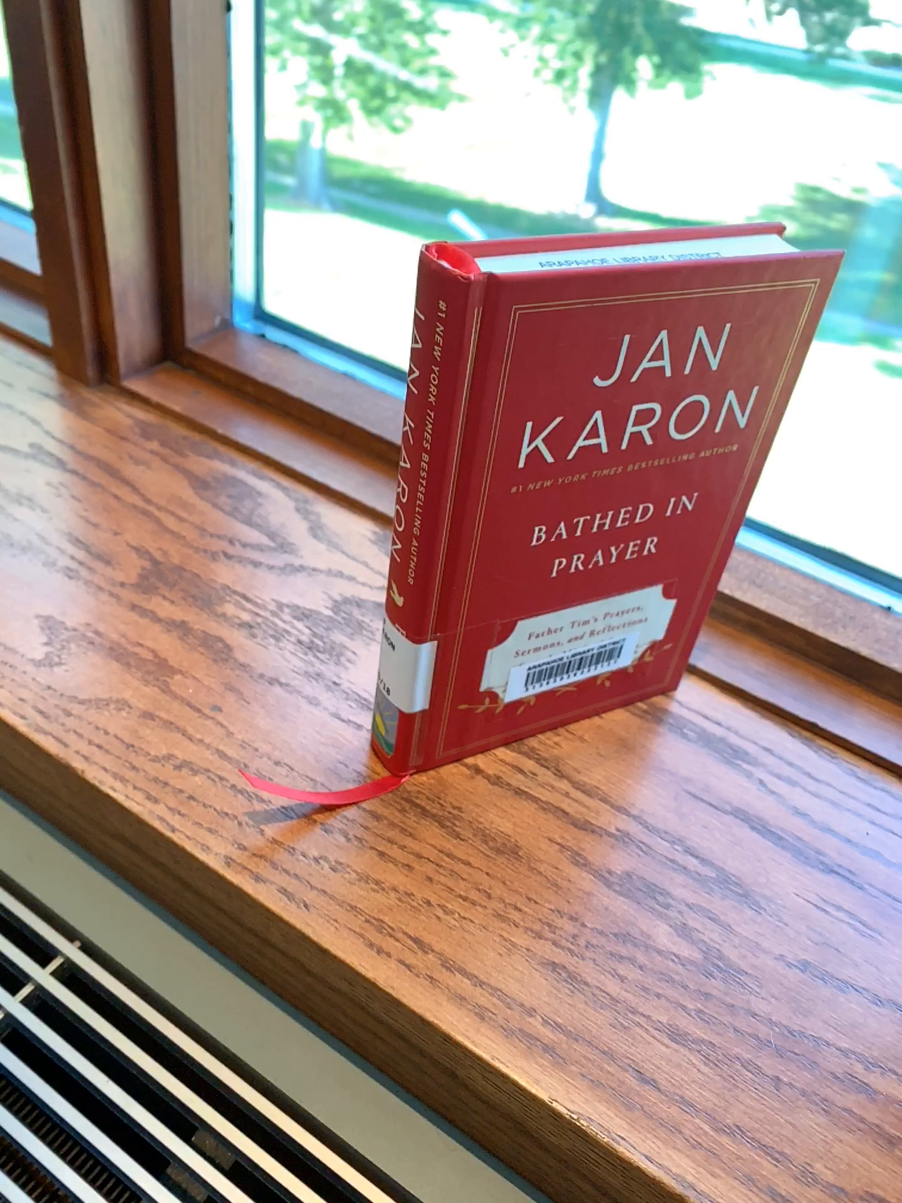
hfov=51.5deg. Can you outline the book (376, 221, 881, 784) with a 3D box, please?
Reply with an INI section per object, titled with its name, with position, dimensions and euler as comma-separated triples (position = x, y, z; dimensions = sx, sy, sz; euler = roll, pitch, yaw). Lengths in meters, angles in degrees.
[book]
position = 0.048, -0.028, 0.300
dimensions = 0.135, 0.169, 0.028
euler = -13, 42, -25
